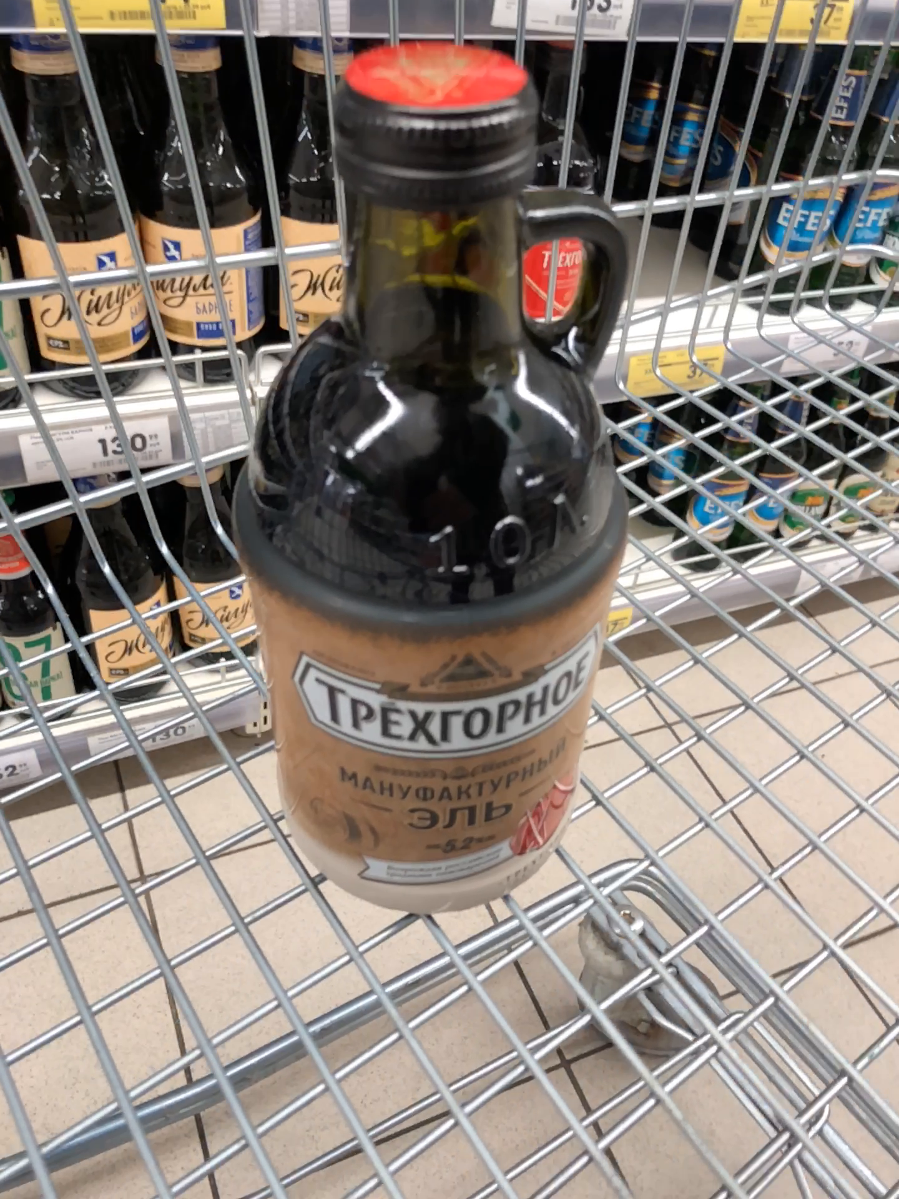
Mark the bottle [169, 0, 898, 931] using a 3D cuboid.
[{"bbox_3d":[0.002,-0.022,0.260,0.110,0.229,0.101,3,42,-3],"label":"bottle"}]
